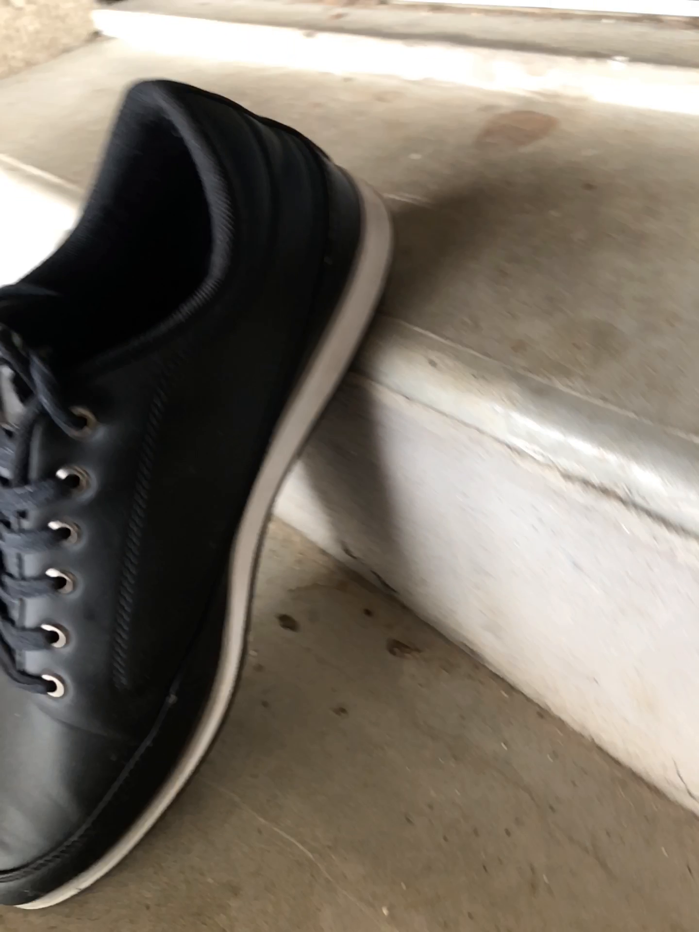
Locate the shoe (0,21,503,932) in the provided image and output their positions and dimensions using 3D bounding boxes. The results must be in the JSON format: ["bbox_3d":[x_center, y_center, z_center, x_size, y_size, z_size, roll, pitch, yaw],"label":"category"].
[{"bbox_3d":[-0.084,0.012,0.269,0.130,0.090,0.290,28,92,37],"label":"shoe"}]
